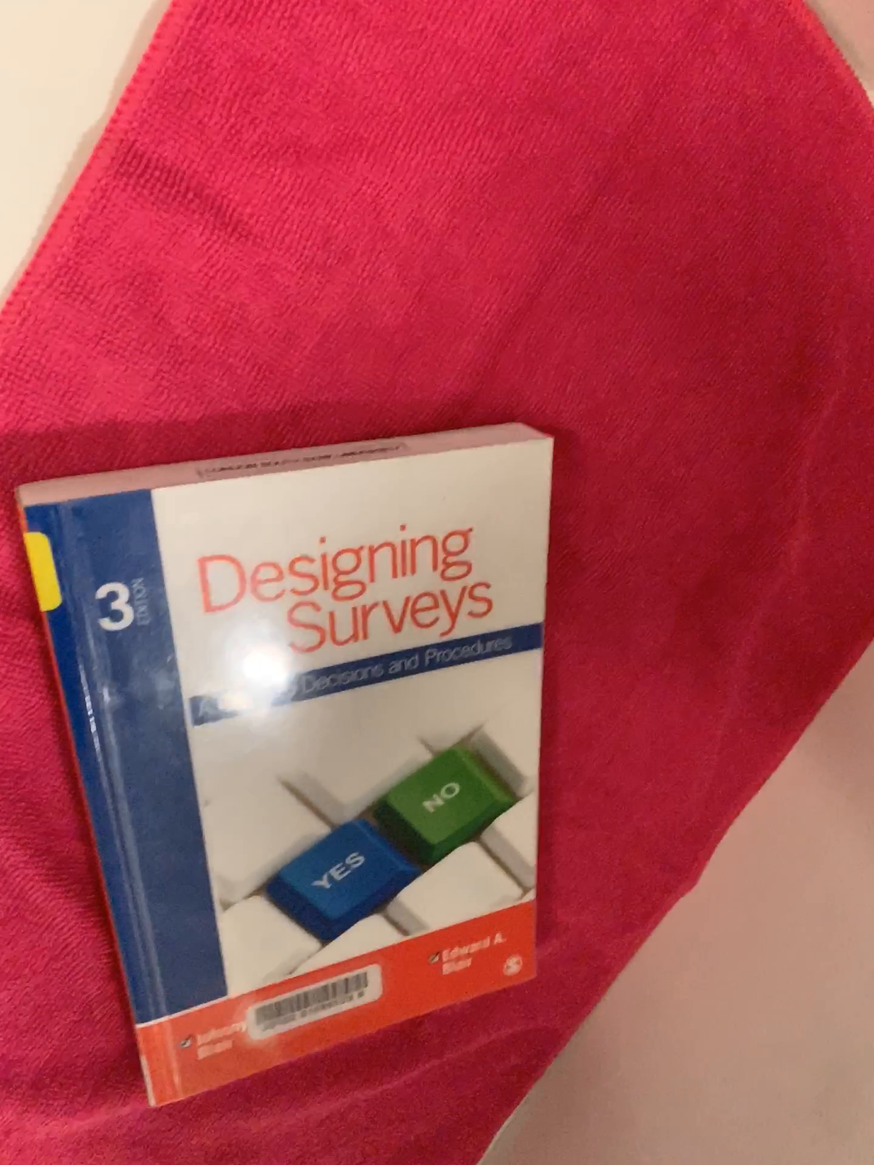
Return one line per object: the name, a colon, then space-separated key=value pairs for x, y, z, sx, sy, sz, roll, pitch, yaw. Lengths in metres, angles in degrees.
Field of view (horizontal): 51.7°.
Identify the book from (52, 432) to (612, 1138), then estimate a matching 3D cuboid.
book: x=-0.023 y=0.073 z=0.309 sx=0.160 sy=0.026 sz=0.230 roll=-11 pitch=117 yaw=-21
